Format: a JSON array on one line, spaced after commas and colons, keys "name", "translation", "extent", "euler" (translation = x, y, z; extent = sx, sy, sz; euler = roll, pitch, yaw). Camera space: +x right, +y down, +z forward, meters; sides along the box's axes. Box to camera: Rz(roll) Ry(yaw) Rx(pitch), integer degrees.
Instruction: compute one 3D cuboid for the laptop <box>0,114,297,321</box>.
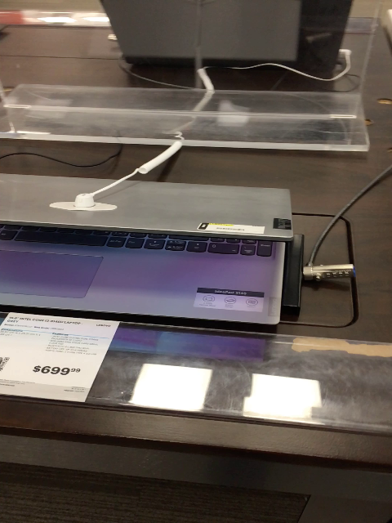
[{"name": "laptop", "translation": [-0.103, -0.060, 0.548], "extent": [0.399, 0.097, 0.223], "euler": [4, 42, 6]}]
